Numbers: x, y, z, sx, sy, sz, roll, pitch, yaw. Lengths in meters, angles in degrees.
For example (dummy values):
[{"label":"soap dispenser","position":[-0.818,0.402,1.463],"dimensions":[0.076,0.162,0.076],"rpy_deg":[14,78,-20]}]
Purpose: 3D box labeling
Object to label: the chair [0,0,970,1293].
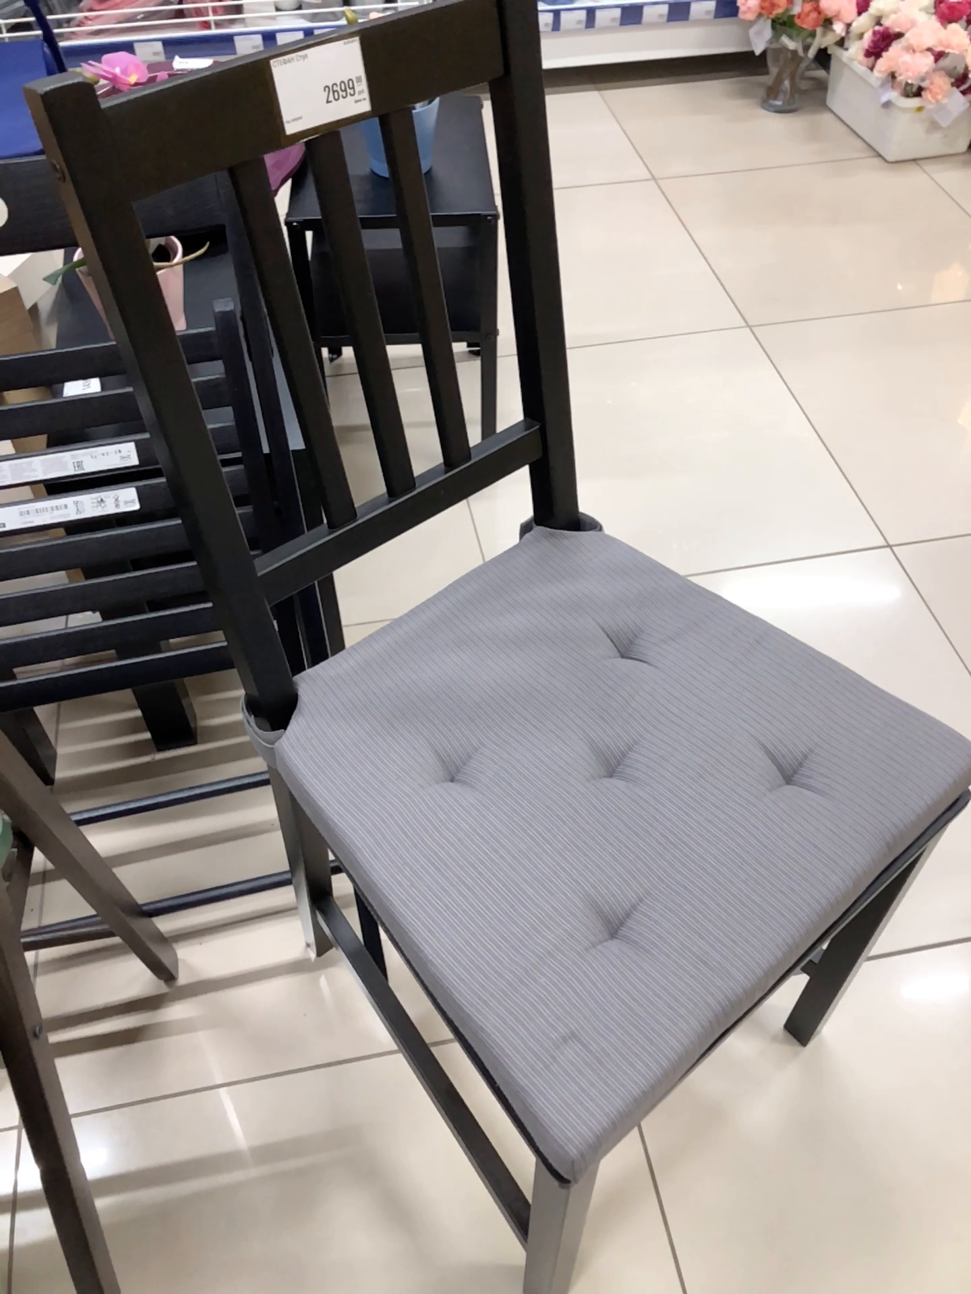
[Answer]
[{"label":"chair","position":[0.057,0.078,0.801],"dimensions":[0.411,0.894,0.492],"rpy_deg":[-32,56,-25]}]
